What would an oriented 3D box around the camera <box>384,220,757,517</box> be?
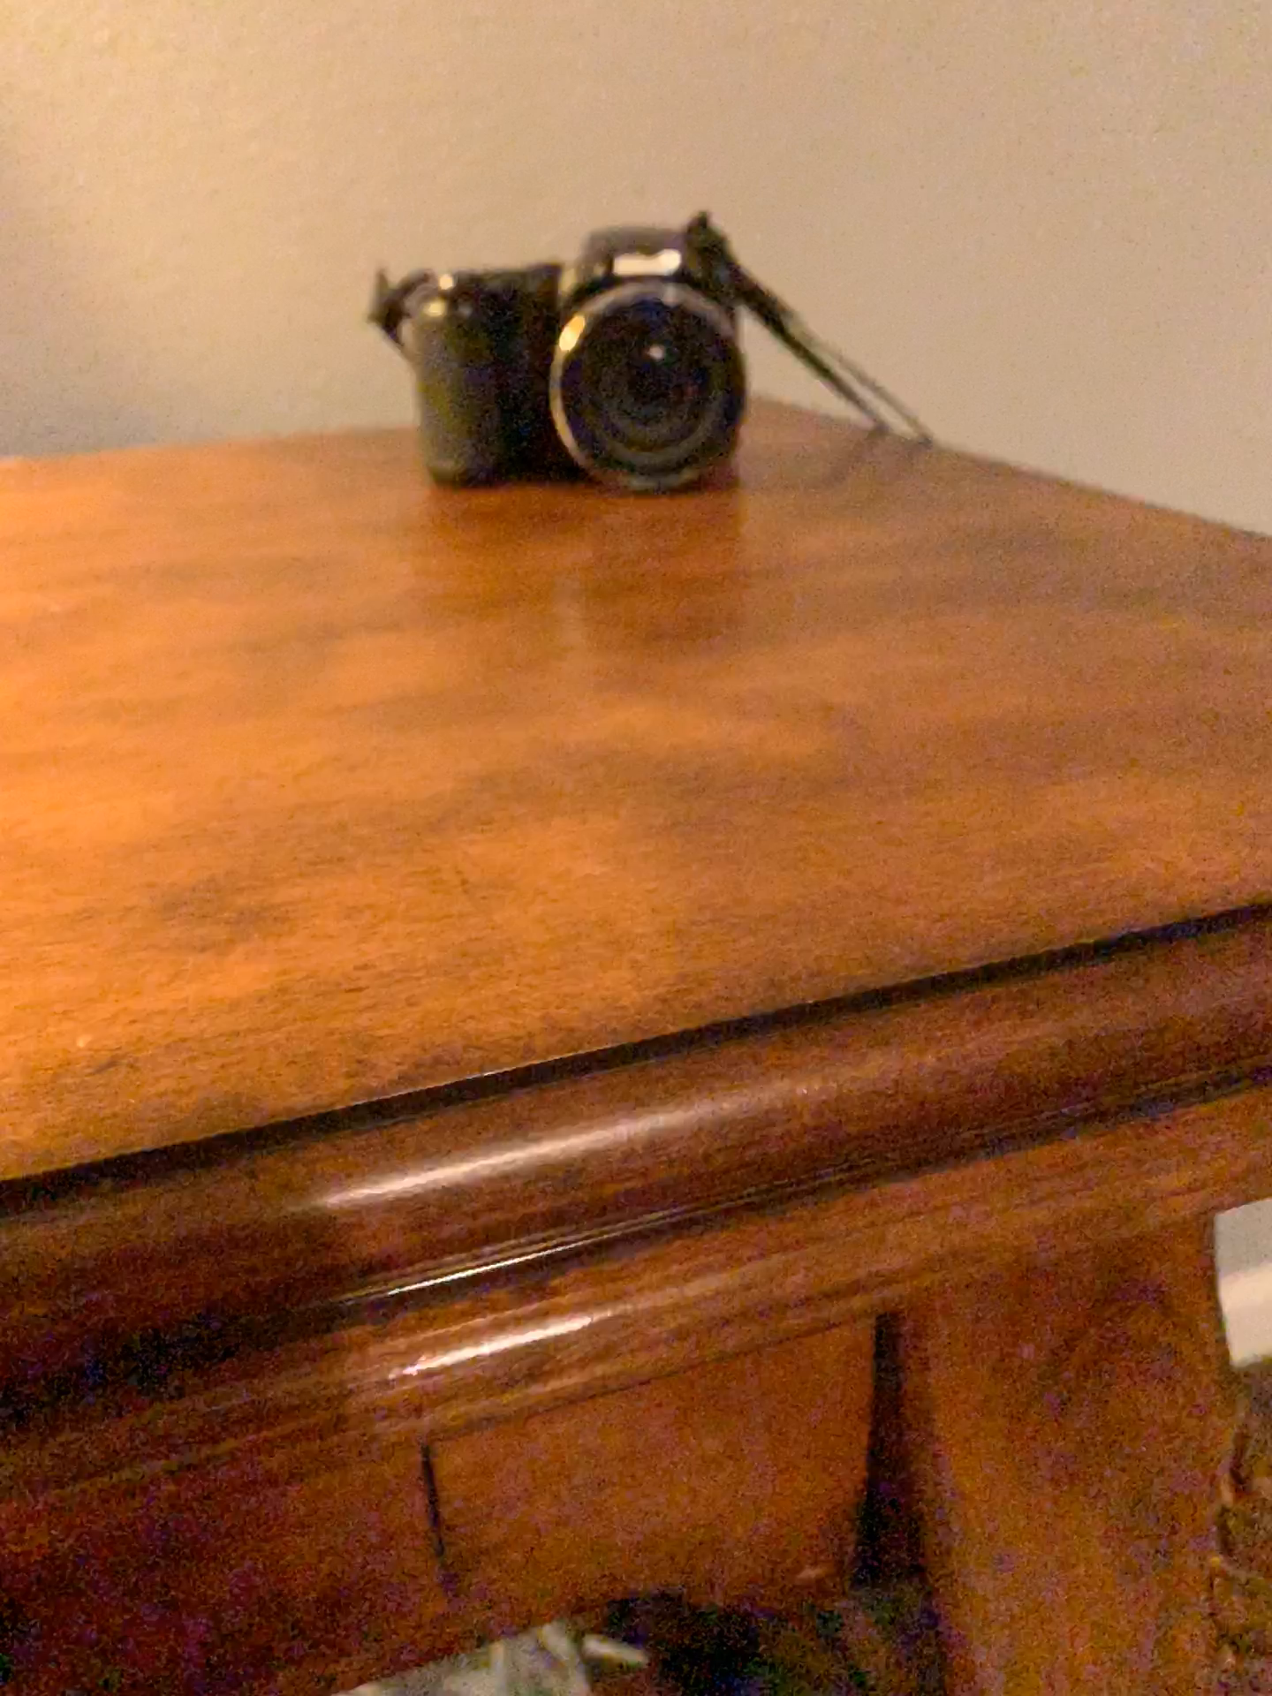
[{"bbox_3d":[-0.021,-0.172,0.472,0.110,0.081,0.123,-4,24,-1],"label":"camera"}]
